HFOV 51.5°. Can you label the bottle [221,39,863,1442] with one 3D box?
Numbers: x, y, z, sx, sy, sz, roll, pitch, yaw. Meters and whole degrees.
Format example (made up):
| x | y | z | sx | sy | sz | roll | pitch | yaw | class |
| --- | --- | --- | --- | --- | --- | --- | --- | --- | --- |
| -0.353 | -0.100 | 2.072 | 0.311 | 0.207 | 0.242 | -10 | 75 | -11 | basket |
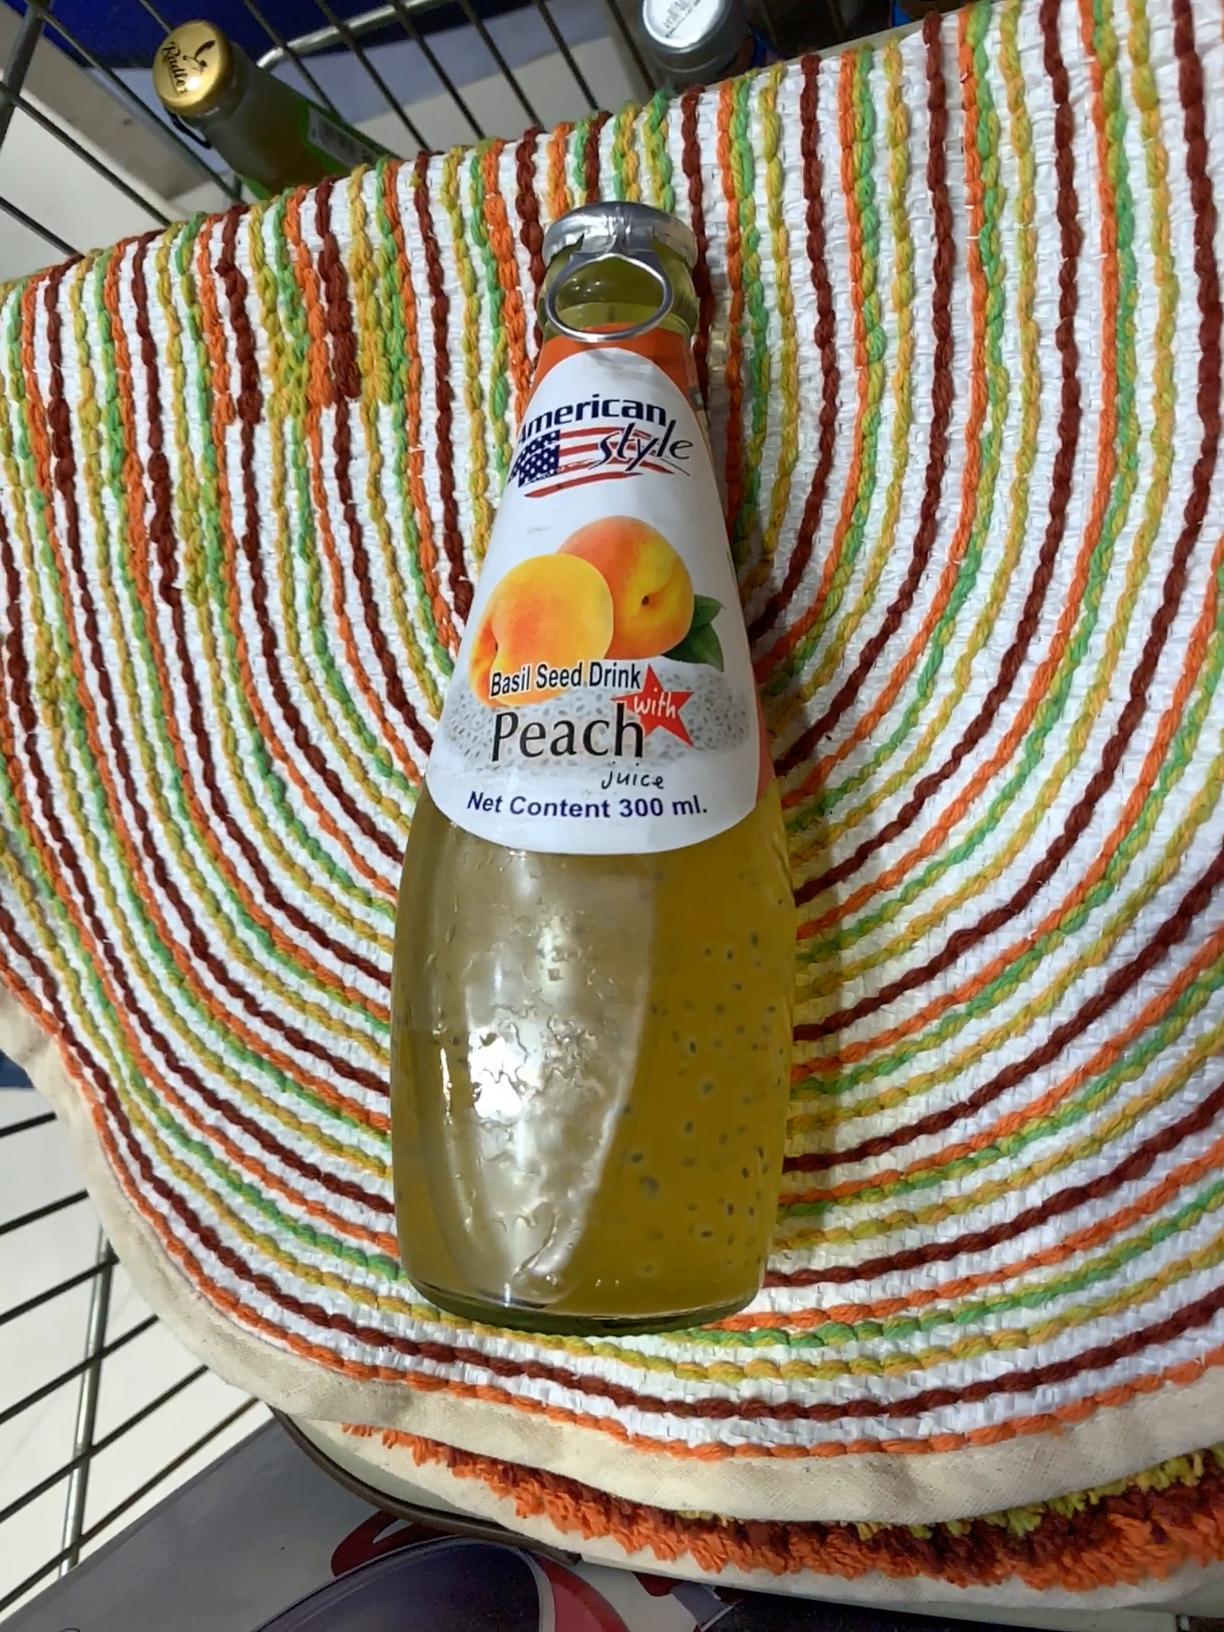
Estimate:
| x | y | z | sx | sy | sz | roll | pitch | yaw | class |
| --- | --- | --- | --- | --- | --- | --- | --- | --- | --- |
| -0.005 | -0.016 | 0.209 | 0.070 | 0.060 | 0.200 | 5 | 78 | 2 | bottle |
